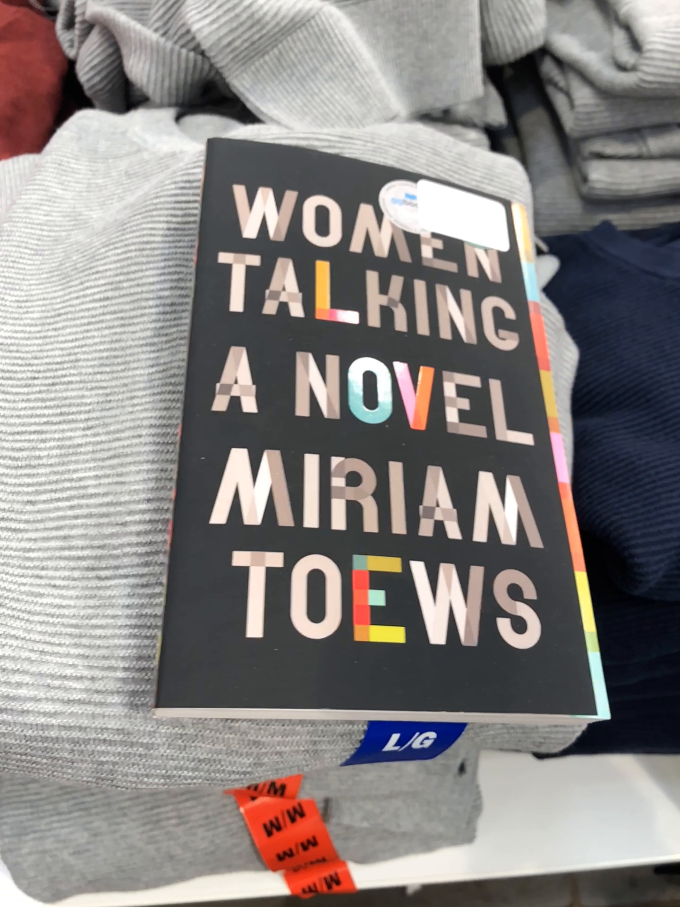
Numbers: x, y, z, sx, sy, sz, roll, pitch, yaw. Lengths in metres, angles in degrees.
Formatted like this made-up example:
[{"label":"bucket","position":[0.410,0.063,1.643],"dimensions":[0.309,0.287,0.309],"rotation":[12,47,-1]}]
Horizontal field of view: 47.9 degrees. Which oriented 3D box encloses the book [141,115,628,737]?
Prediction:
[{"label":"book","position":[0.013,-0.018,0.258],"dimensions":[0.135,0.020,0.211],"rotation":[6,64,-13]}]
